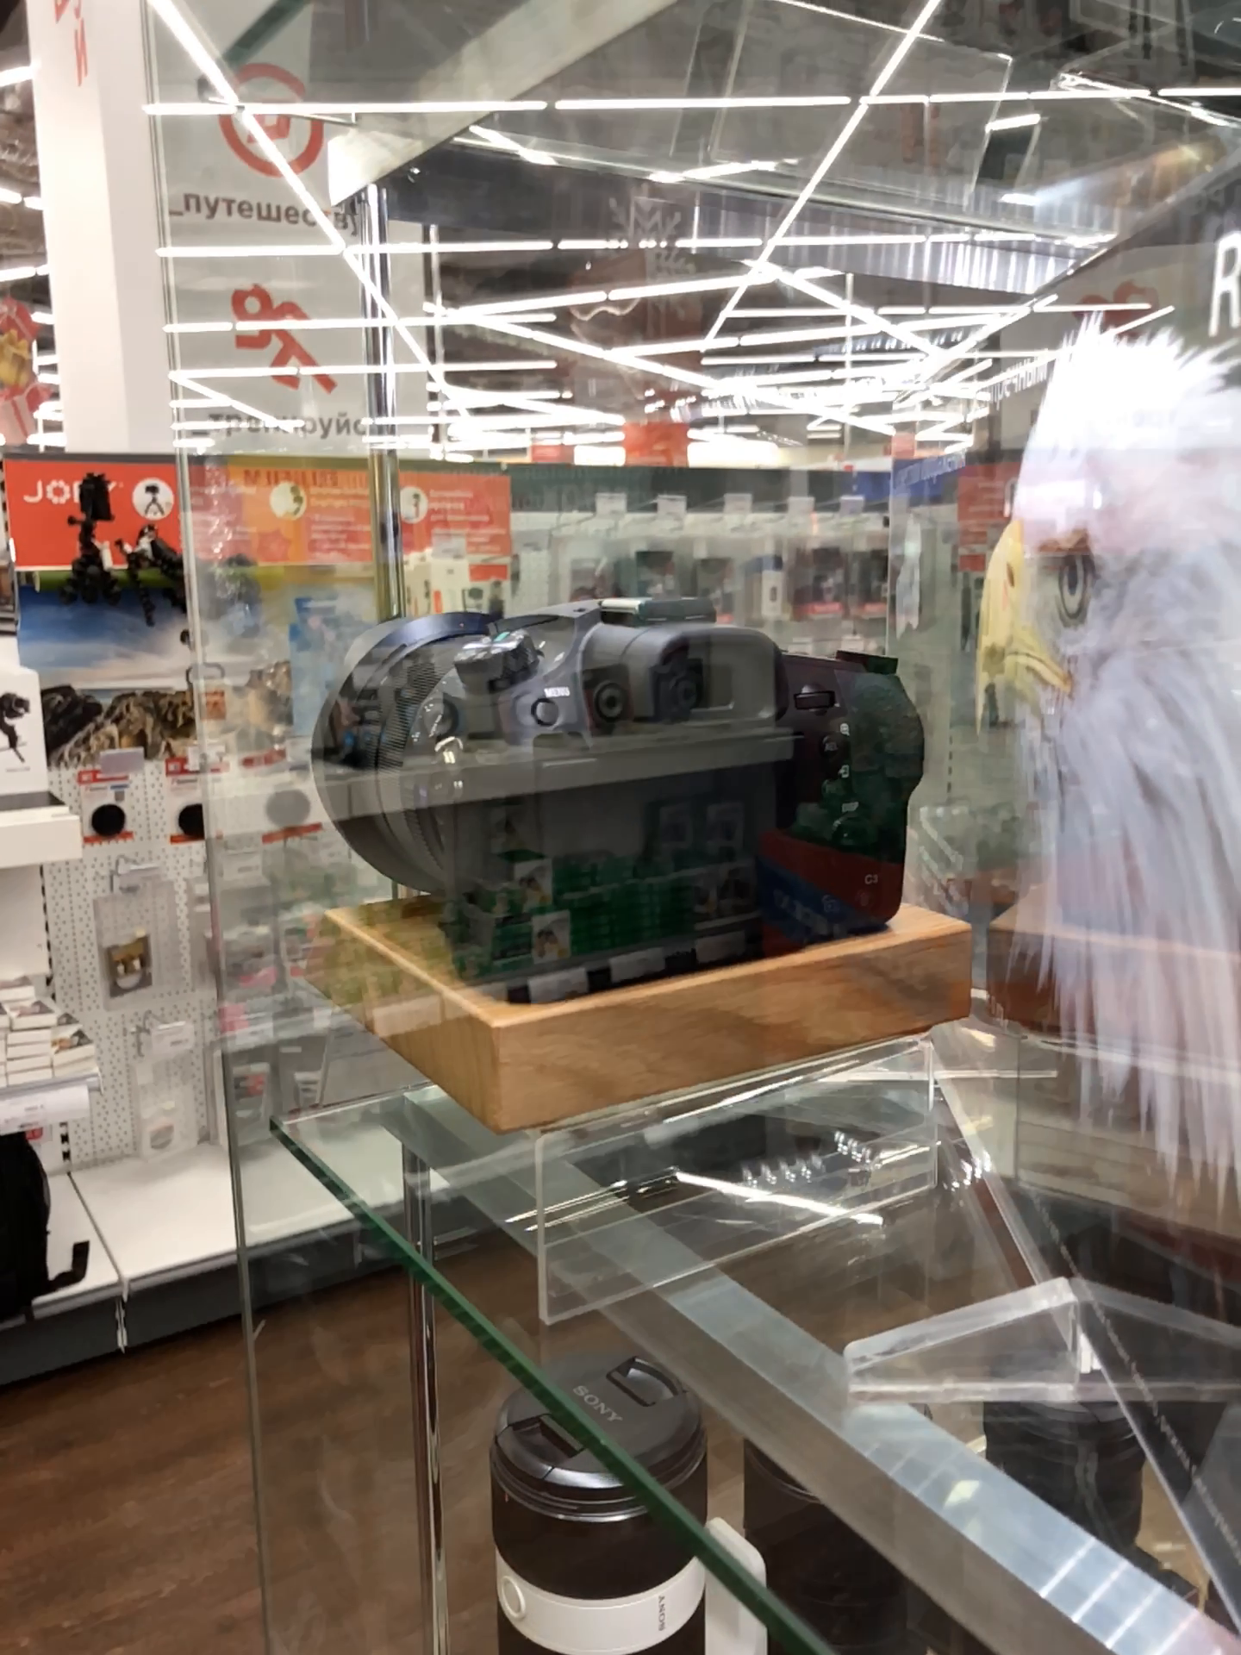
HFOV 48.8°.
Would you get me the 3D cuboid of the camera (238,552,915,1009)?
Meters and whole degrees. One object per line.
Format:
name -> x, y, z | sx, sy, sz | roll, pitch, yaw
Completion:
camera -> -0.023, -0.028, 0.405 | 0.126, 0.099, 0.178 | -7, 12, -30
